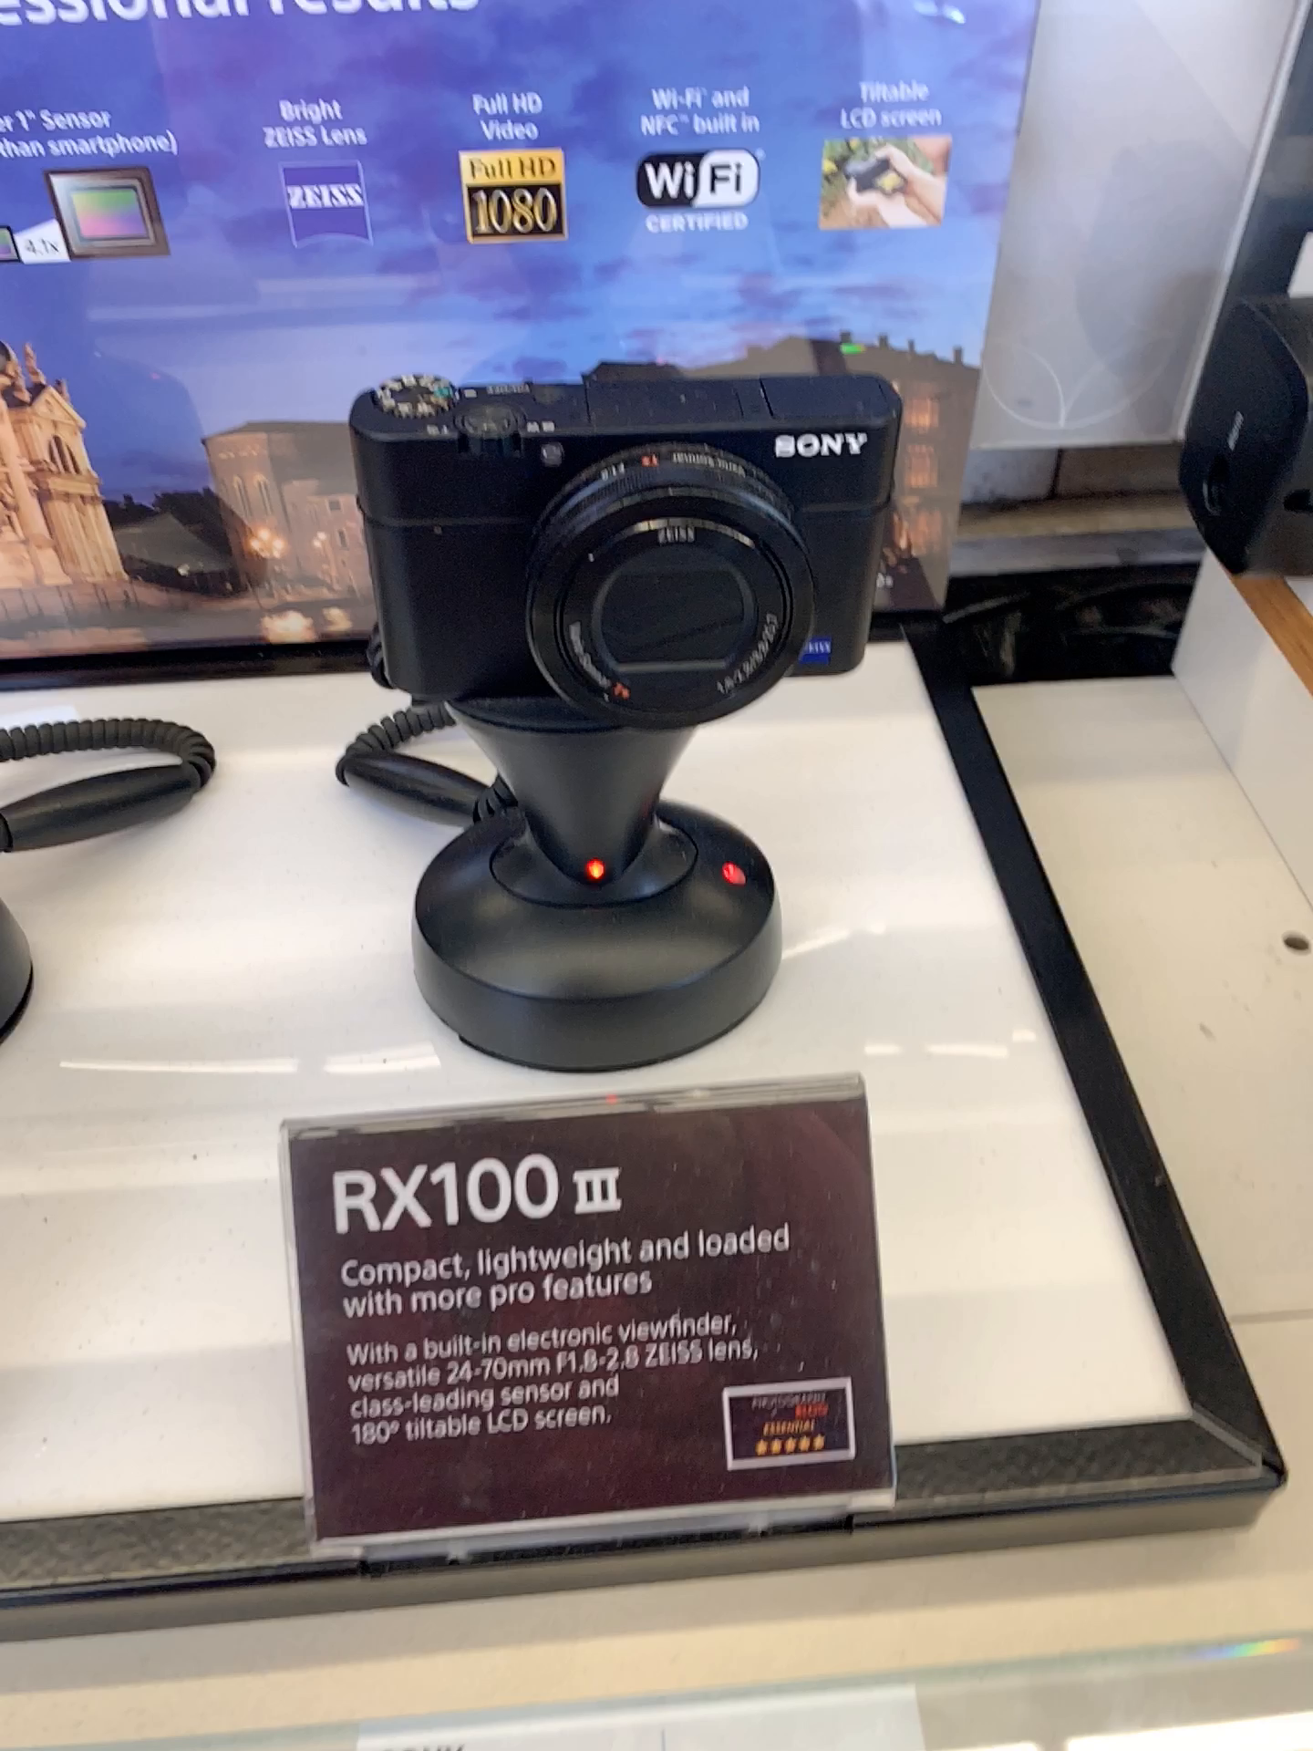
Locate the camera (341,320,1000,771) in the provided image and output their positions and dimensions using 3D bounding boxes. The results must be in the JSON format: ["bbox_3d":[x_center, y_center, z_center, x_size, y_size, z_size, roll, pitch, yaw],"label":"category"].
[{"bbox_3d":[0.000,-0.064,0.263,0.110,0.059,0.050,-6,45,-5],"label":"camera"}]
